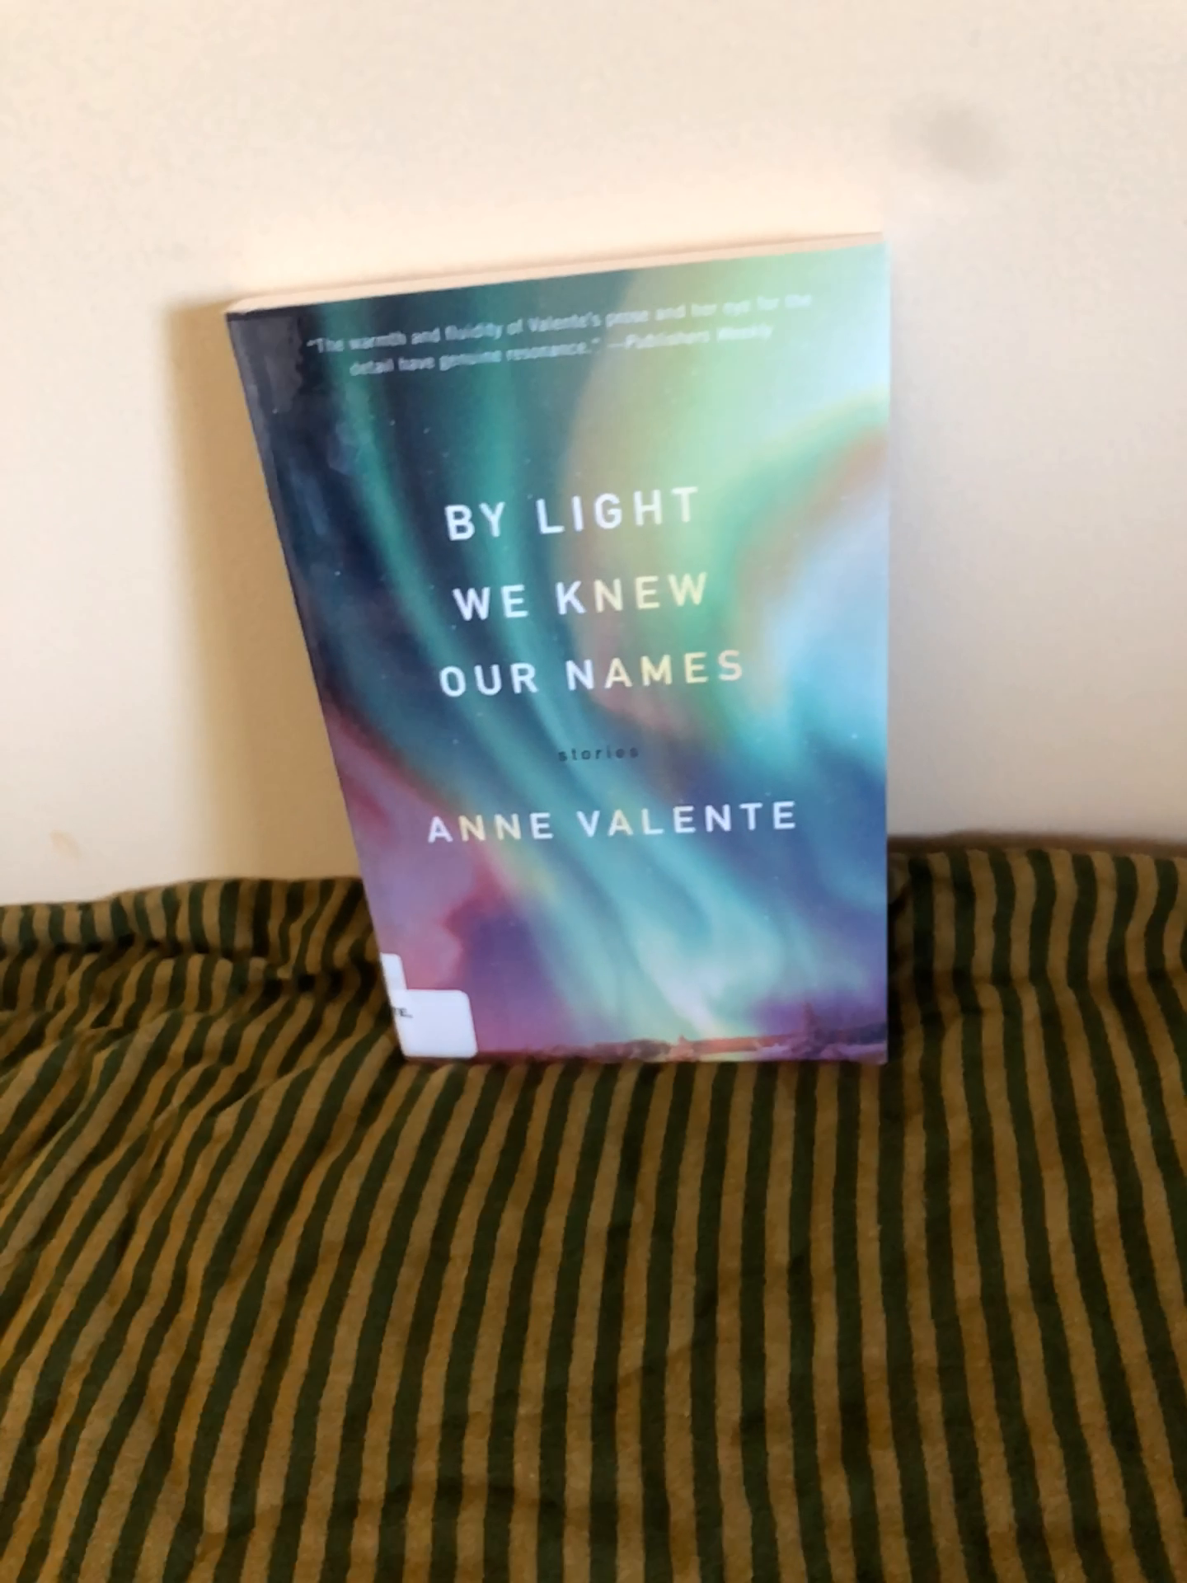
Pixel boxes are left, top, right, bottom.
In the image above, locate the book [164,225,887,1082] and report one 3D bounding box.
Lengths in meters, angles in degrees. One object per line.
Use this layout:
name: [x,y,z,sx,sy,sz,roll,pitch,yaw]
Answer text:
book: [-0.005,-0.014,0.330,0.142,0.223,0.020,-3,35,4]
